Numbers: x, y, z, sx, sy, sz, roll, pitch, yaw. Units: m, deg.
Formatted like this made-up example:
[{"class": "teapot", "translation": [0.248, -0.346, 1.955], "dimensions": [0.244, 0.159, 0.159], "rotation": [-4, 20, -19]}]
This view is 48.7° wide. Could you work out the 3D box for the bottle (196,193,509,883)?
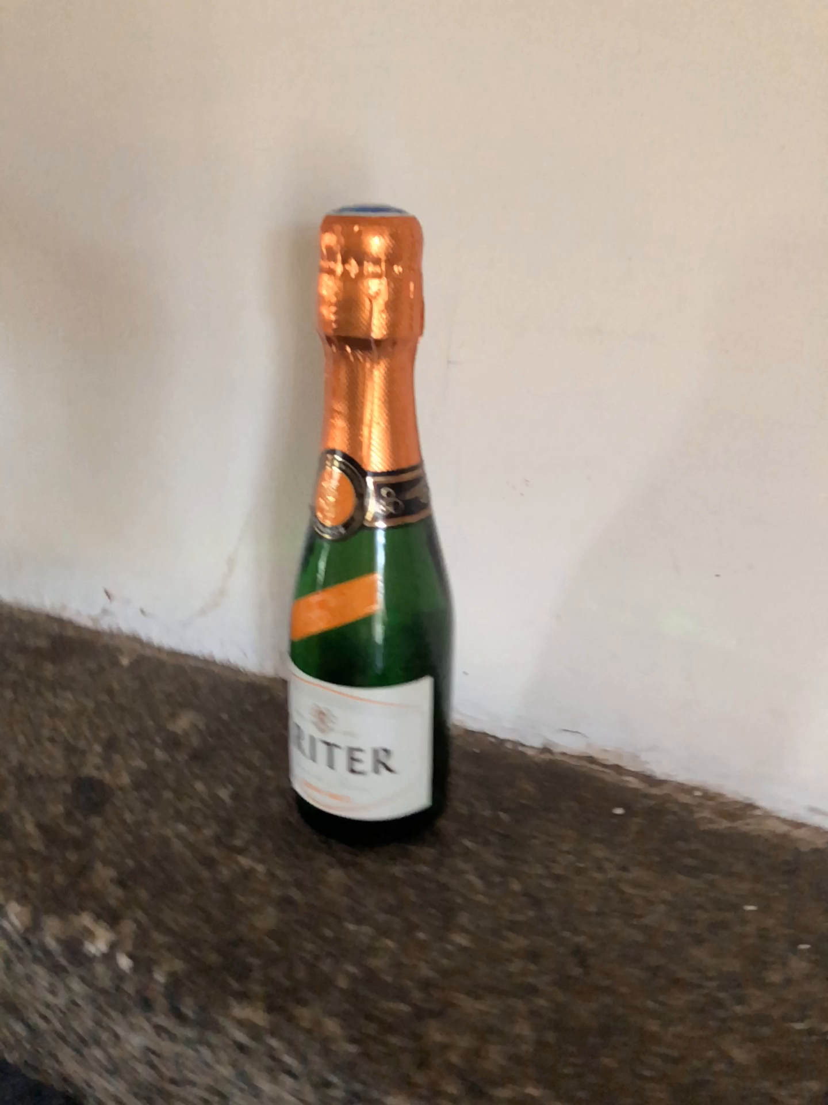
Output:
[{"class": "bottle", "translation": [-0.016, -0.007, 0.293], "dimensions": [0.060, 0.199, 0.070], "rotation": [12, 23, 26]}]
